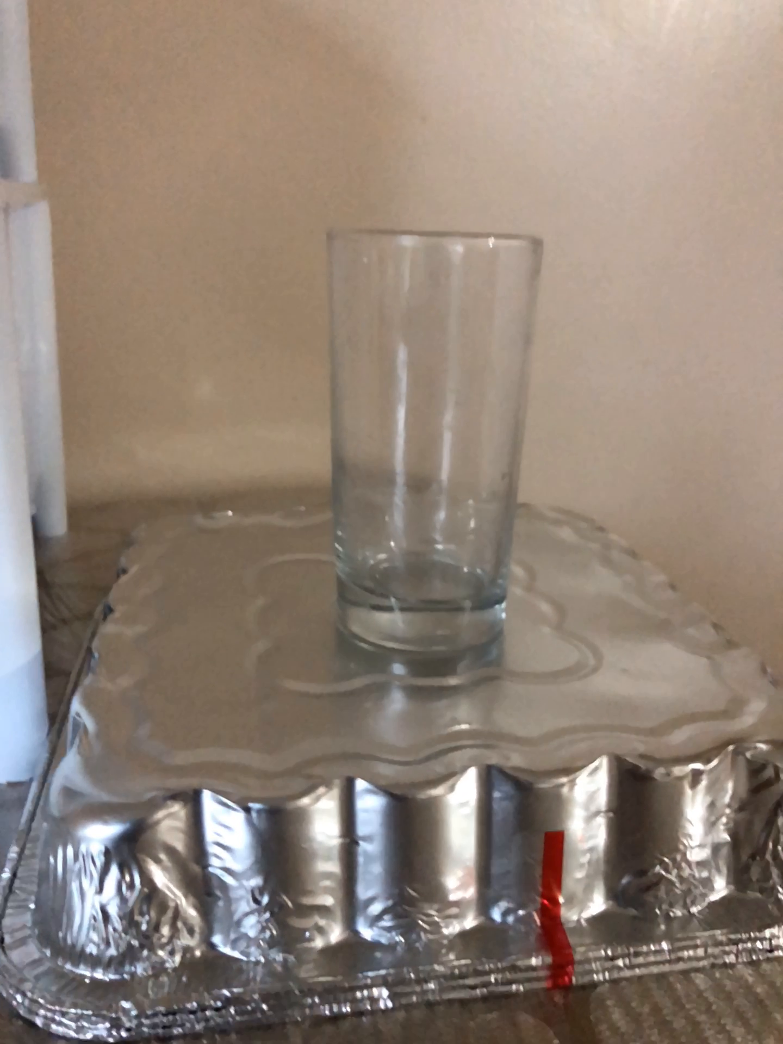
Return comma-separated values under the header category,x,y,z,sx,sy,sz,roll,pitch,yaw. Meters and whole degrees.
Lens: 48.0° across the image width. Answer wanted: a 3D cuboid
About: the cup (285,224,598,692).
category,x,y,z,sx,sy,sz,roll,pitch,yaw
cup,0.011,-0.023,0.262,0.060,0.120,0.060,3,18,-1
